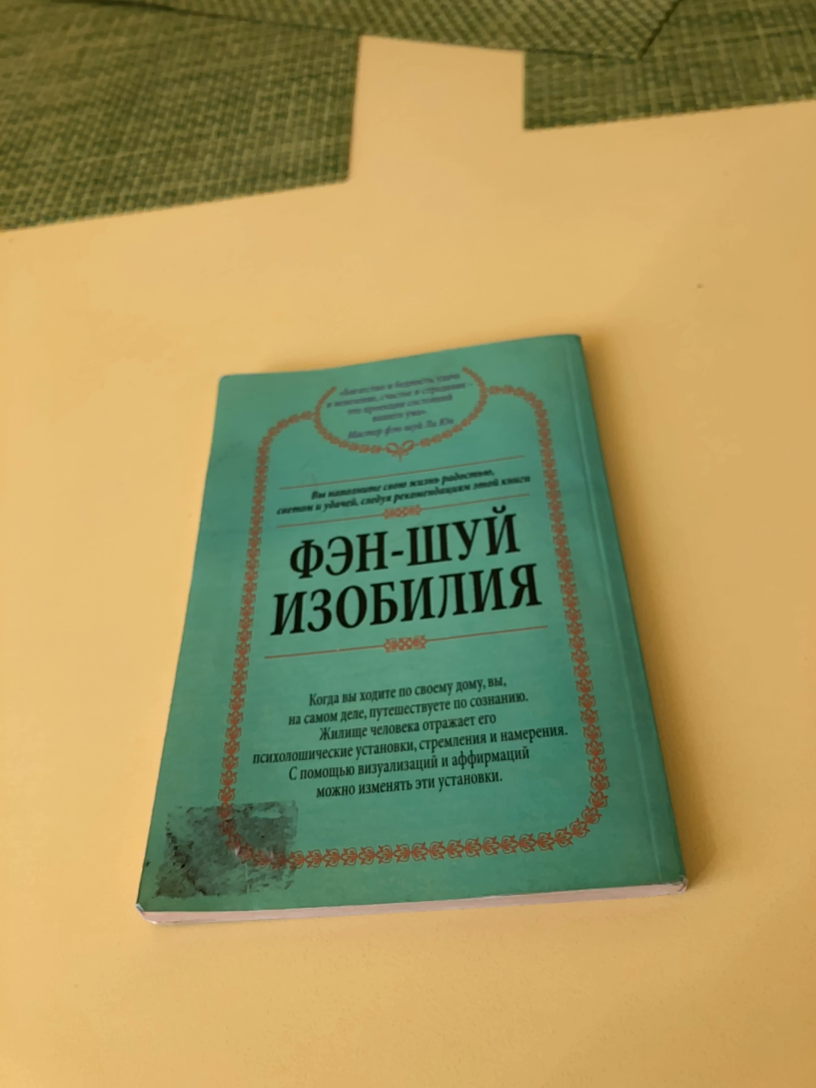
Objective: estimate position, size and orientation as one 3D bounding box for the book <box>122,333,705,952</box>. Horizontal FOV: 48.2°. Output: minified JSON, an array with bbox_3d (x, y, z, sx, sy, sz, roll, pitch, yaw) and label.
[{"bbox_3d":[-0.001,0.013,0.242,0.118,0.020,0.167,-6,52,6],"label":"book"}]
